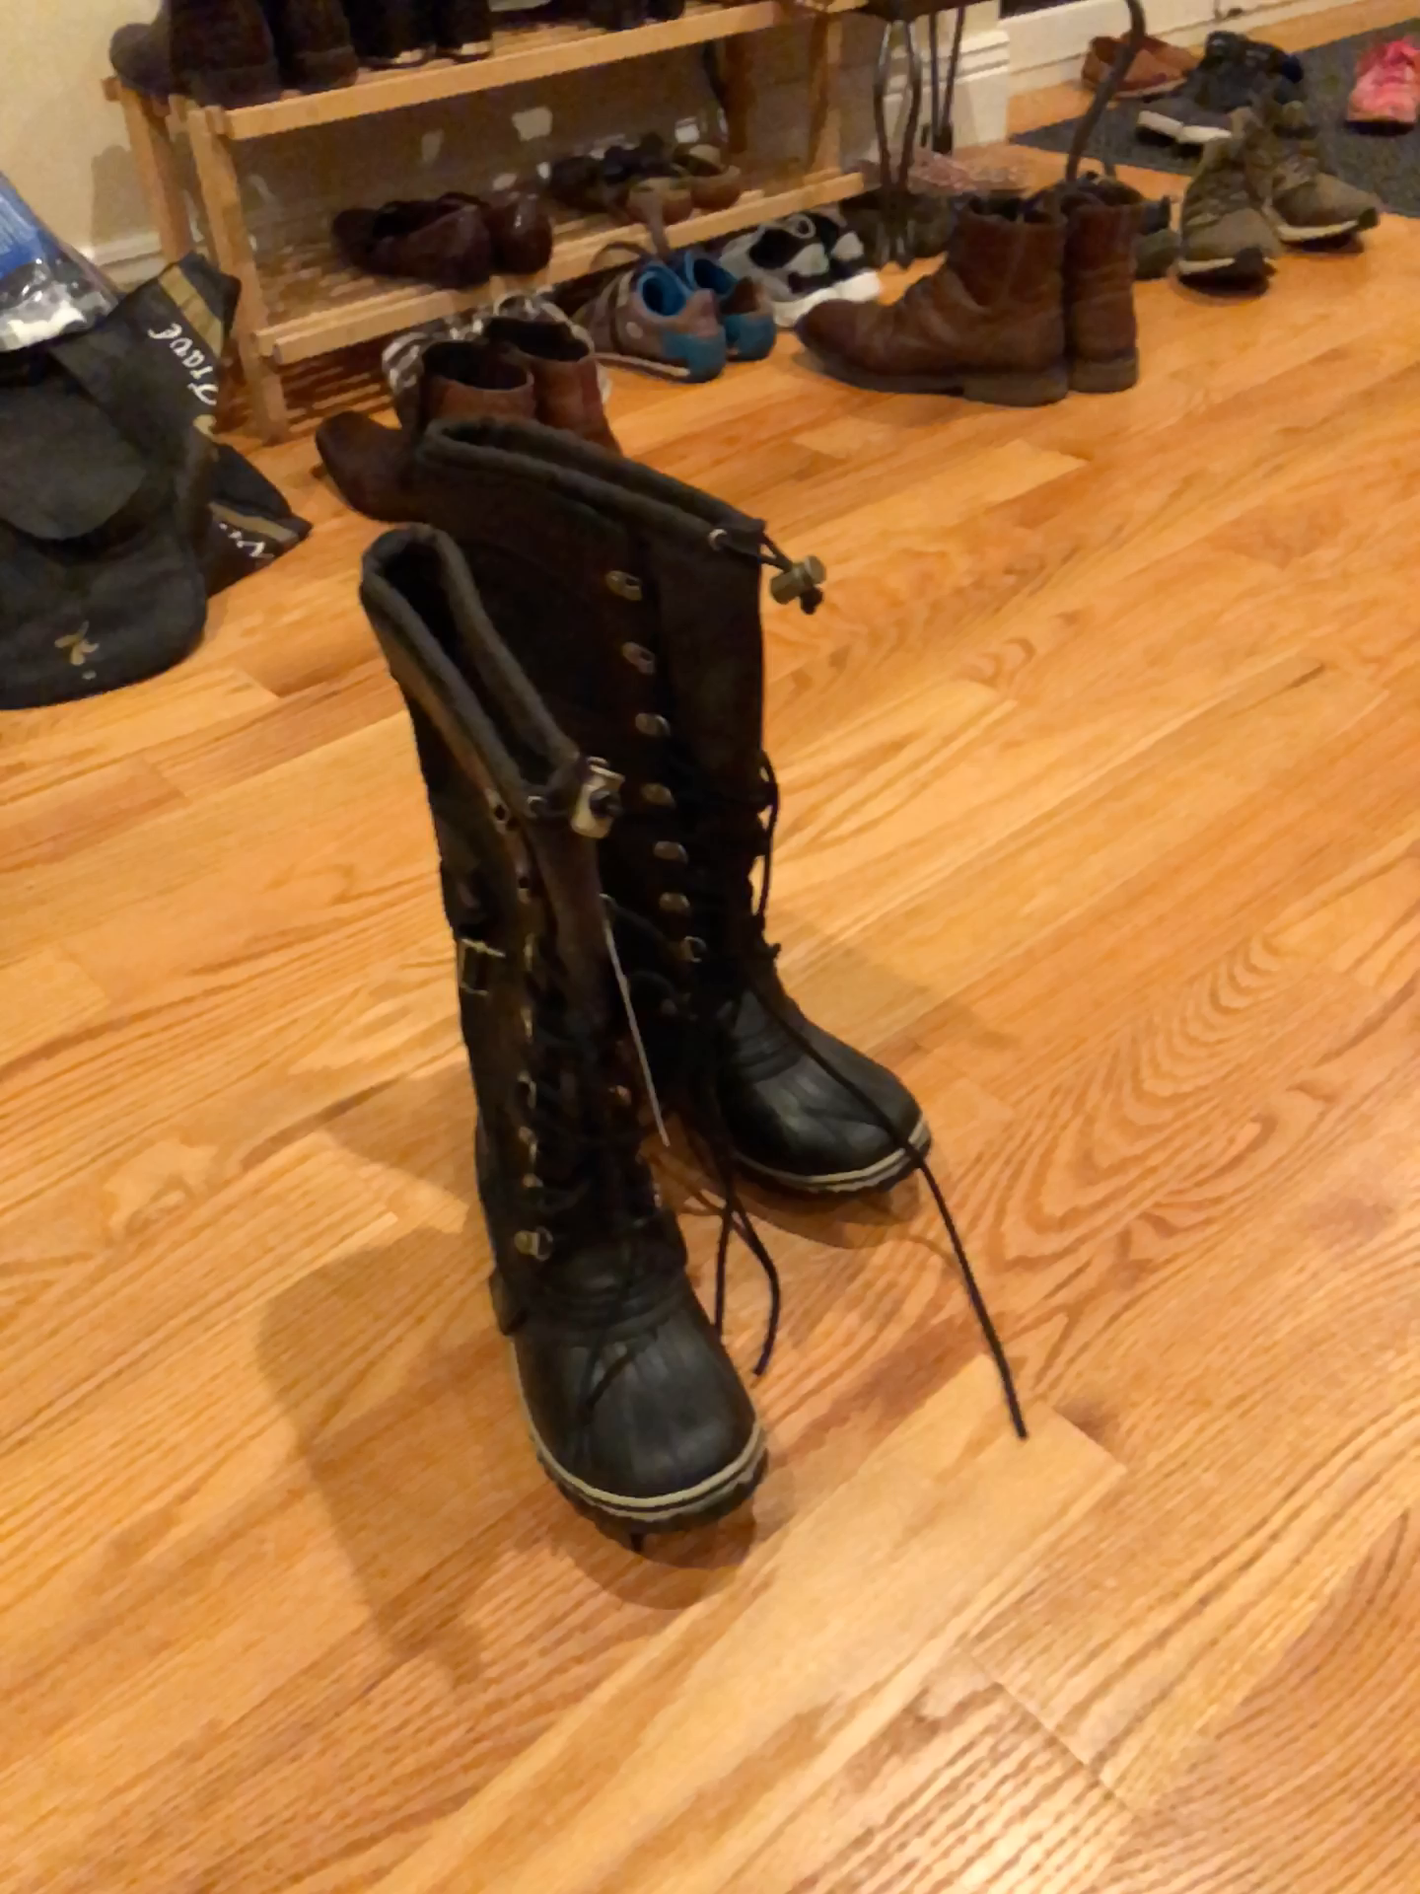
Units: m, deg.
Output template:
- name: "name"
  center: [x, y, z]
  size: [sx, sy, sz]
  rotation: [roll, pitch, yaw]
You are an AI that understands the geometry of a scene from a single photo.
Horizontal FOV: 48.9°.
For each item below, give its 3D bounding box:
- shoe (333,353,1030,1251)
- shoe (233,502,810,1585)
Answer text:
- name: "shoe"
  center: [-0.011, -0.063, 0.699]
  size: [0.260, 0.328, 0.100]
  rotation: [24, 46, 30]
- name: "shoe"
  center: [-0.069, 0.033, 0.601]
  size: [0.100, 0.308, 0.261]
  rotation: [-19, 41, -18]
